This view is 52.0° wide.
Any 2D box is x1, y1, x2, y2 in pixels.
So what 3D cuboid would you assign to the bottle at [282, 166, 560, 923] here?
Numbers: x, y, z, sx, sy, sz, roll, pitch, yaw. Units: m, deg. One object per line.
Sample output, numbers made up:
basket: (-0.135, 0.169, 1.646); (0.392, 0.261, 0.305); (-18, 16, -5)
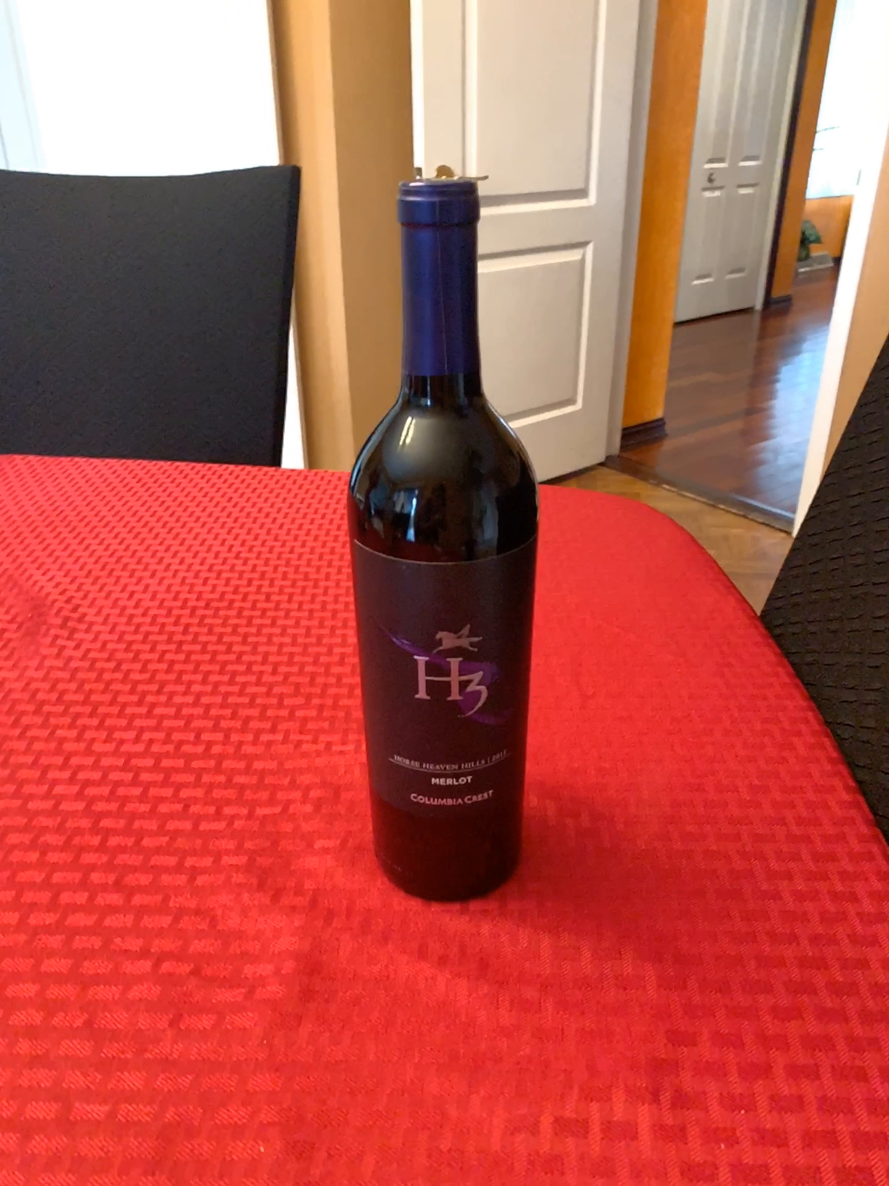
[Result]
bottle: (-0.010, -0.008, 0.362); (0.080, 0.288, 0.080); (0, 27, 0)
